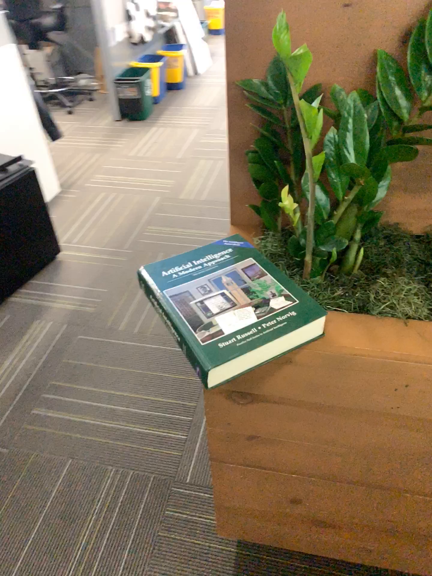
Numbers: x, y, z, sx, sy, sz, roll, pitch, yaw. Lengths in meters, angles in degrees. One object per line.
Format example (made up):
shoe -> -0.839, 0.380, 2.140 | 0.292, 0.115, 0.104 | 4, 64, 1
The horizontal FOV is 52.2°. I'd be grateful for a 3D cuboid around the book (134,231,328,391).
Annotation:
book -> 0.014, 0.018, 0.727 | 0.210, 0.050, 0.261 | -22, 43, -20
